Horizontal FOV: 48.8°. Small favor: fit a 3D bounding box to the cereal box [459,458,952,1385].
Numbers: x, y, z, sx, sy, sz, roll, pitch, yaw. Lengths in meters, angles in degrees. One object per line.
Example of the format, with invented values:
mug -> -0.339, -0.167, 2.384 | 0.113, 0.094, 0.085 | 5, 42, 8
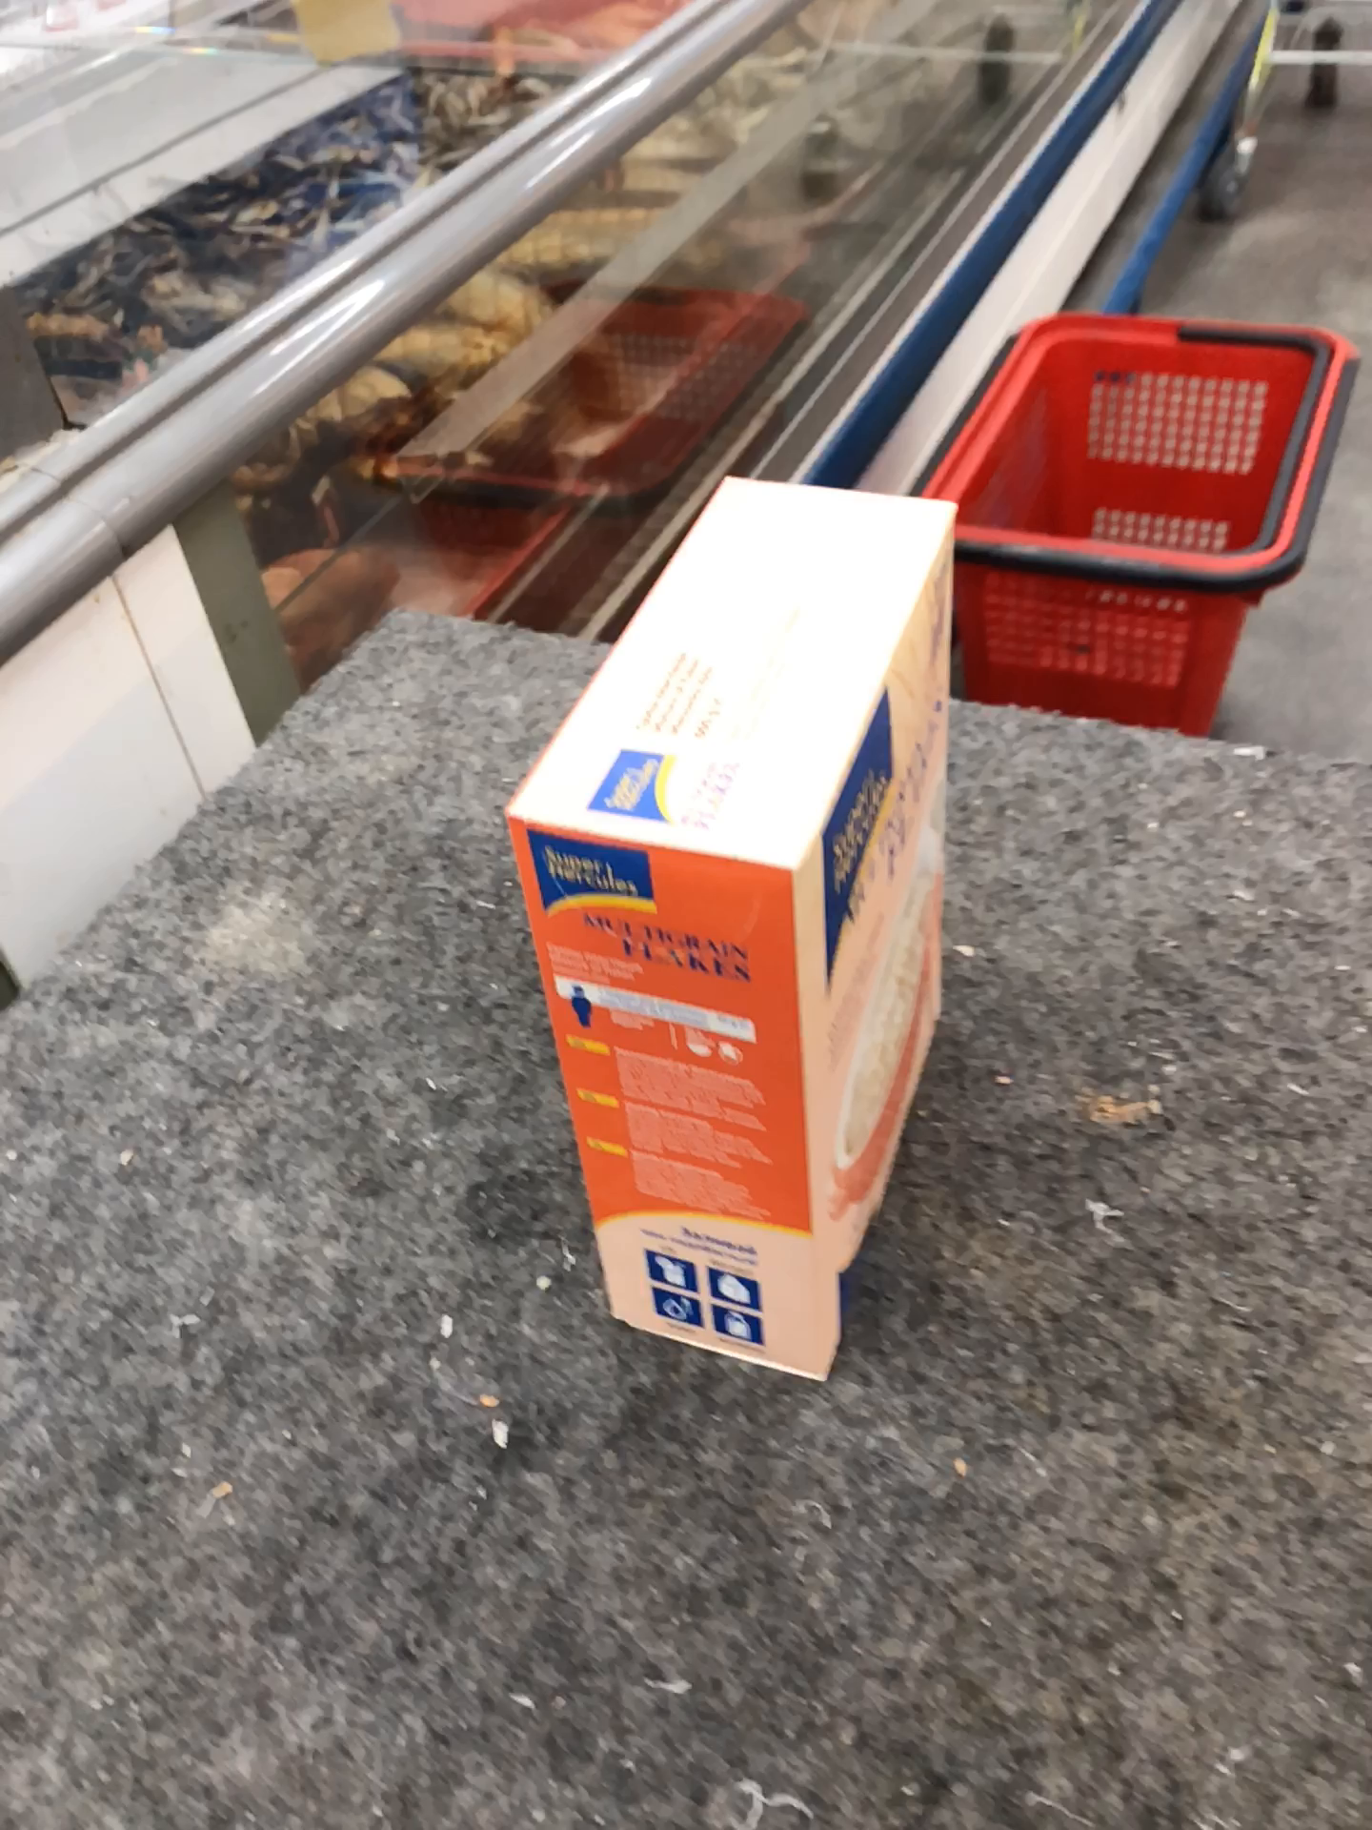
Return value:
cereal box -> 0.020, 0.004, 0.419 | 0.070, 0.199, 0.151 | 10, 45, 18
